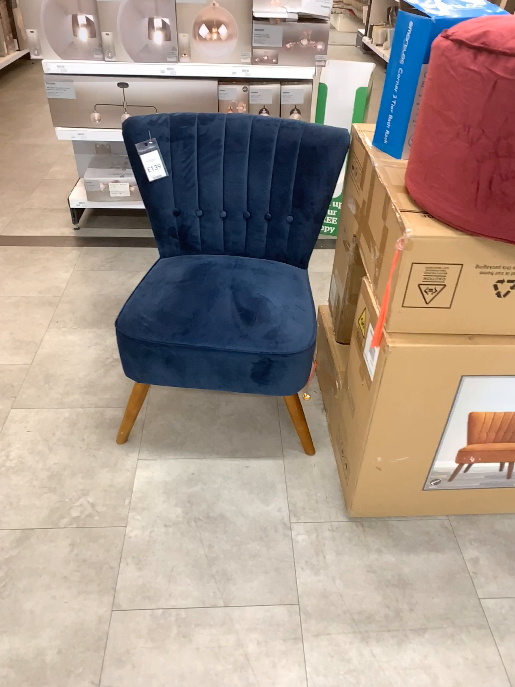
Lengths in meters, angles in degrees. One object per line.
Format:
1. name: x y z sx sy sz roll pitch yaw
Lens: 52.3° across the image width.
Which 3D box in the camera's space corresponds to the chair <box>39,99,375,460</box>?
1. chair: -0.100 -0.213 1.601 0.690 0.792 0.727 3 38 1
